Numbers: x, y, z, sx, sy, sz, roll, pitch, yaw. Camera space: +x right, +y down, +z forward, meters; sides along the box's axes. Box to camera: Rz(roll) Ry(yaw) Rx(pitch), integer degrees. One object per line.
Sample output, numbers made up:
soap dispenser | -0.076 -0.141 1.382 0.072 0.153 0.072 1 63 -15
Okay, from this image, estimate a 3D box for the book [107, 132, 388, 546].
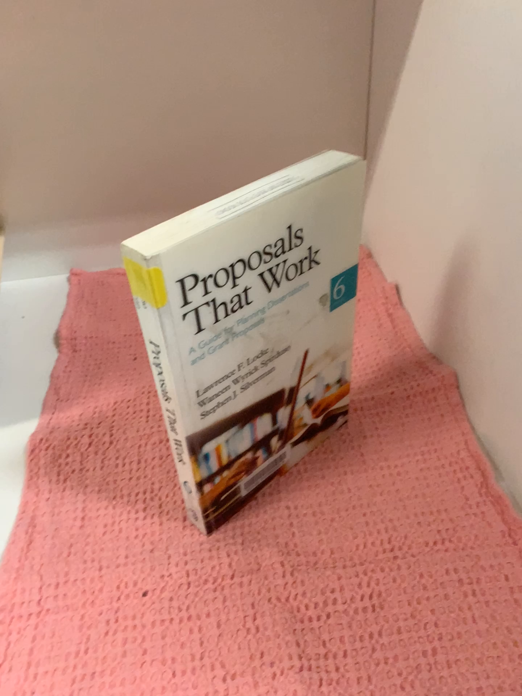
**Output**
book | 0.009 0.001 0.368 0.181 0.238 0.030 -33 47 -31
